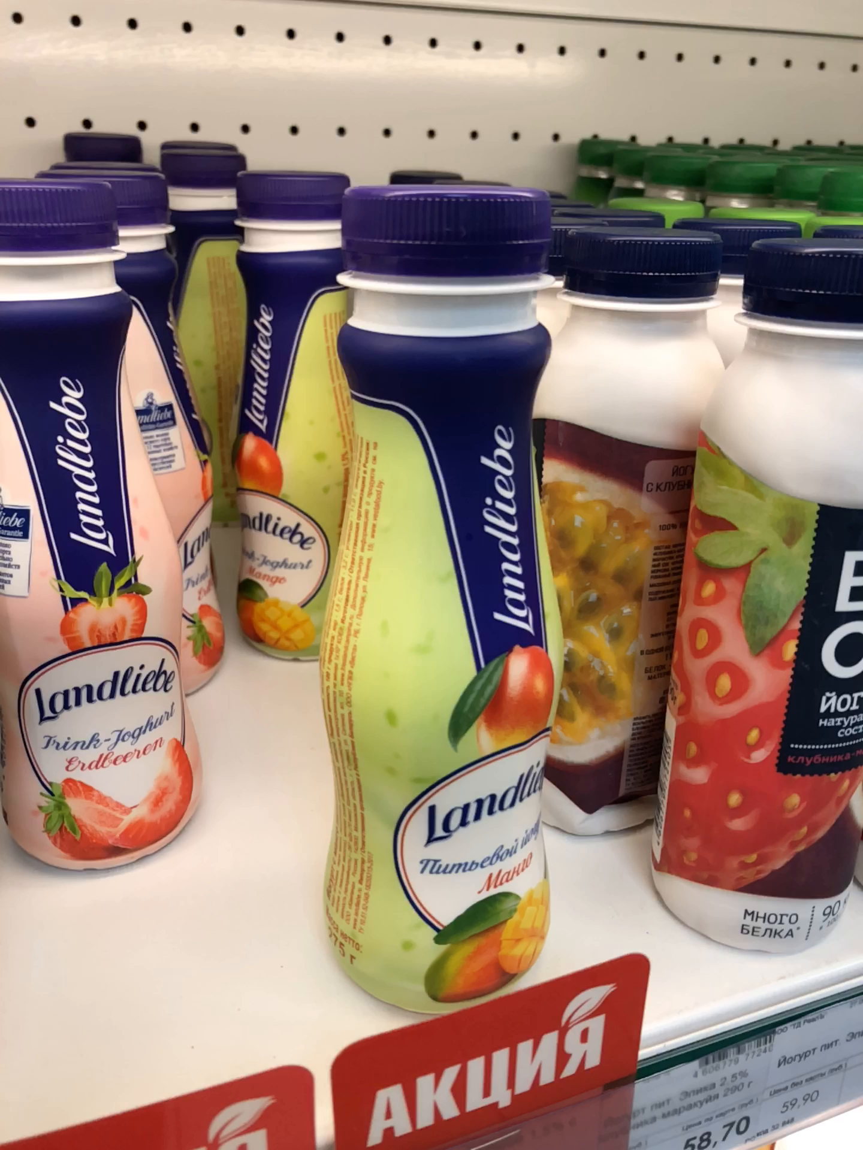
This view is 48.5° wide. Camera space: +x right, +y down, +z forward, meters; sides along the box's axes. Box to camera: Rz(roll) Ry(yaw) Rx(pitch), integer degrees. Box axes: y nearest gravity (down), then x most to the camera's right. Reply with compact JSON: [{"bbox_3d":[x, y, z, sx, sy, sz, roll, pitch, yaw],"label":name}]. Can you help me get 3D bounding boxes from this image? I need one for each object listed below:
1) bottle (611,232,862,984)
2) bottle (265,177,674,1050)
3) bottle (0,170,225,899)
[{"bbox_3d":[0.086,0.010,0.234,0.051,0.173,0.048,1,24,0],"label":"bottle"},{"bbox_3d":[0.003,0.009,0.210,0.055,0.177,0.054,1,24,0],"label":"bottle"},{"bbox_3d":[-0.096,-0.010,0.255,0.056,0.178,0.054,1,24,0],"label":"bottle"}]
